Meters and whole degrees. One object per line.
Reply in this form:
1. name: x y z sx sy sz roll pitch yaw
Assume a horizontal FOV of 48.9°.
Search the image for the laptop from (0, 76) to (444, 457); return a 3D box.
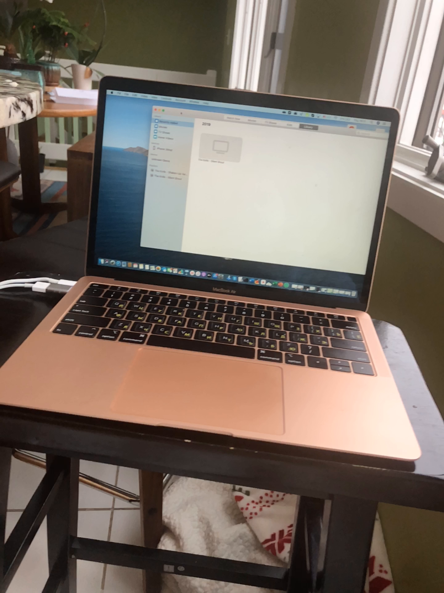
1. laptop: 0.005 -0.058 0.407 0.297 0.196 0.265 7 25 2
